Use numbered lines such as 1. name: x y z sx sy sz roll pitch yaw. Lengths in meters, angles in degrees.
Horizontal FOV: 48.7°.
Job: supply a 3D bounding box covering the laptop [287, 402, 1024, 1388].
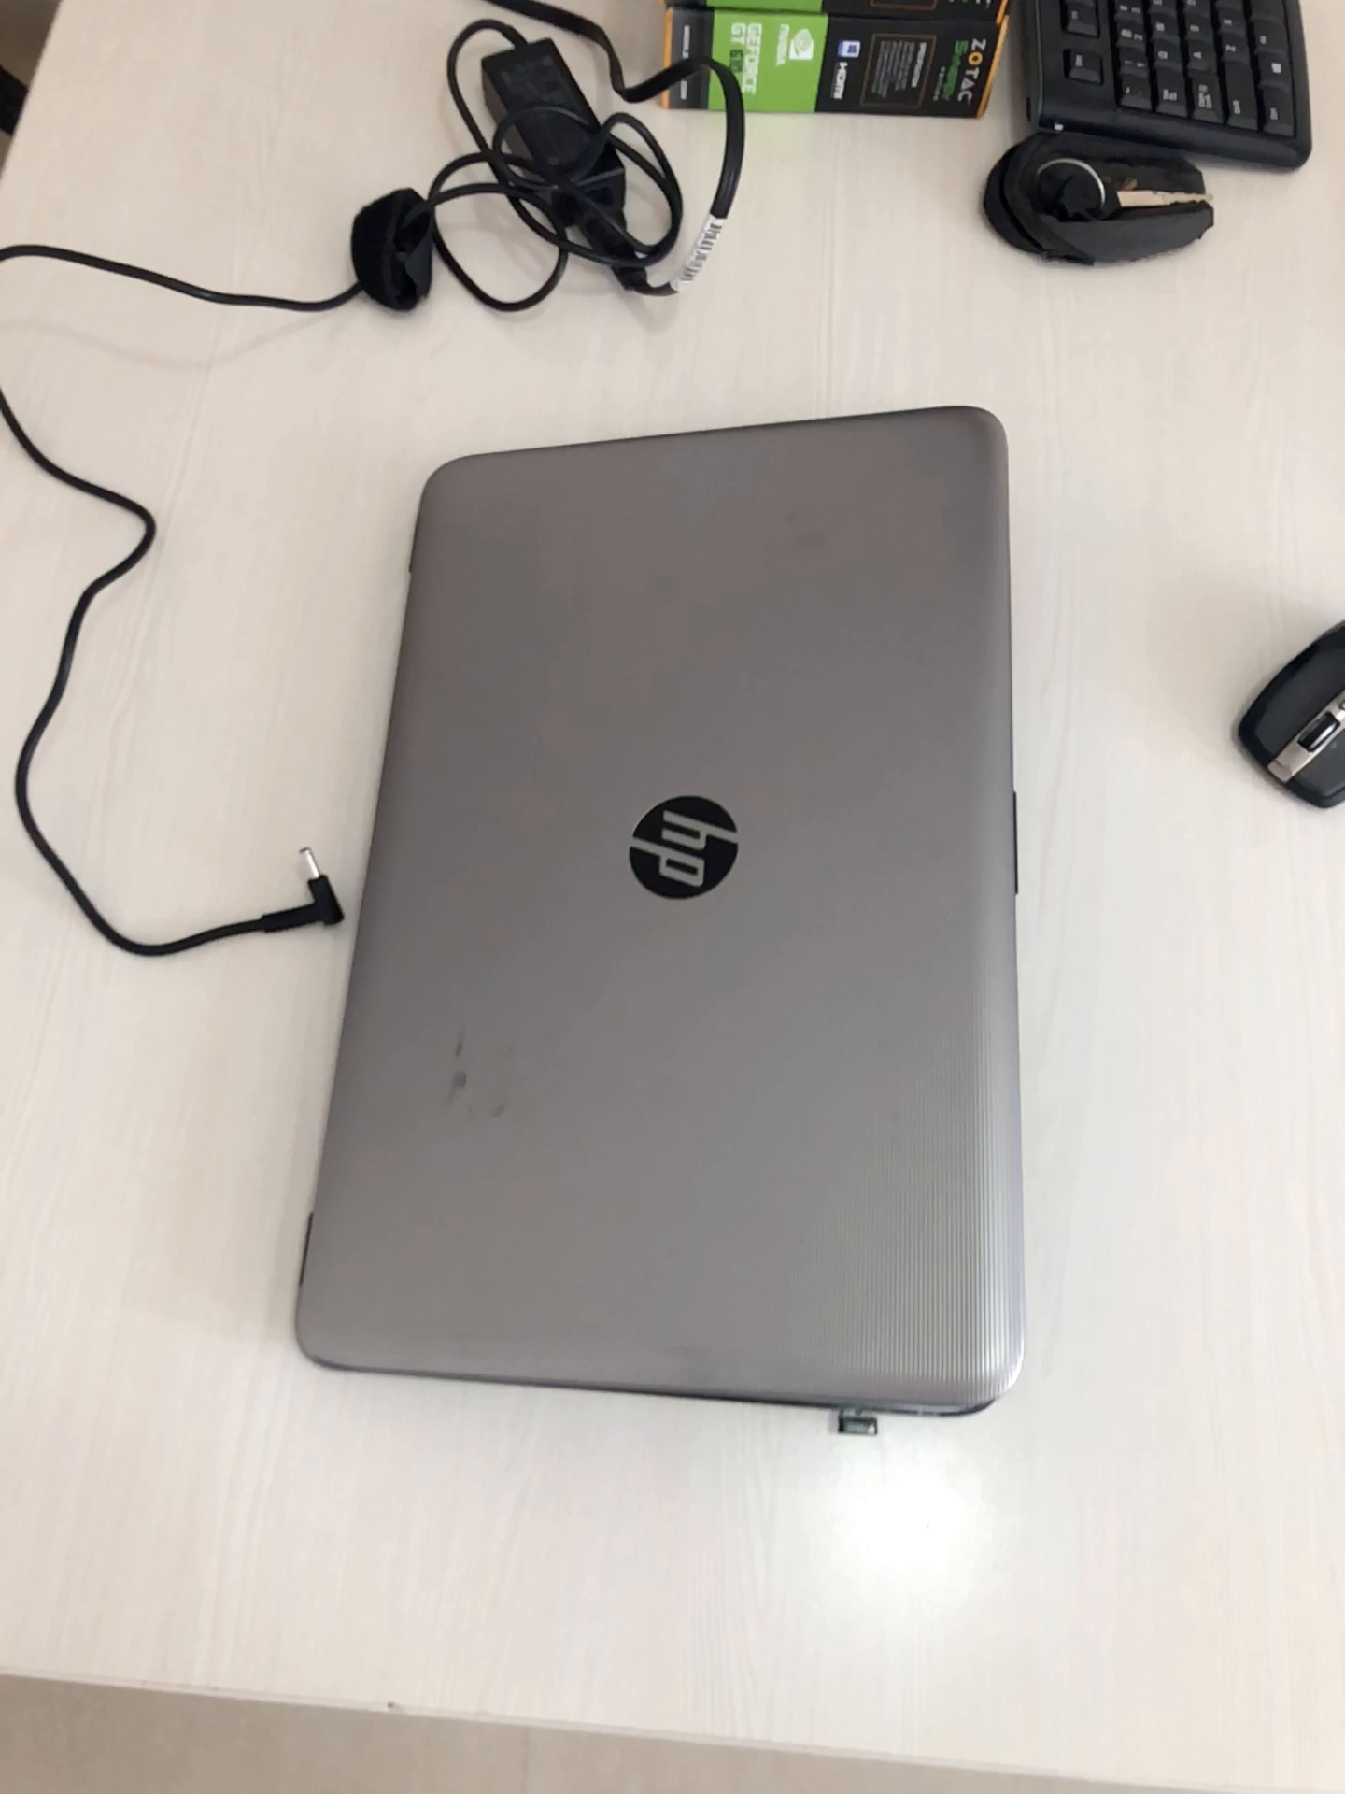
1. laptop: 0.007 -0.012 0.547 0.226 0.062 0.356 4 69 0
